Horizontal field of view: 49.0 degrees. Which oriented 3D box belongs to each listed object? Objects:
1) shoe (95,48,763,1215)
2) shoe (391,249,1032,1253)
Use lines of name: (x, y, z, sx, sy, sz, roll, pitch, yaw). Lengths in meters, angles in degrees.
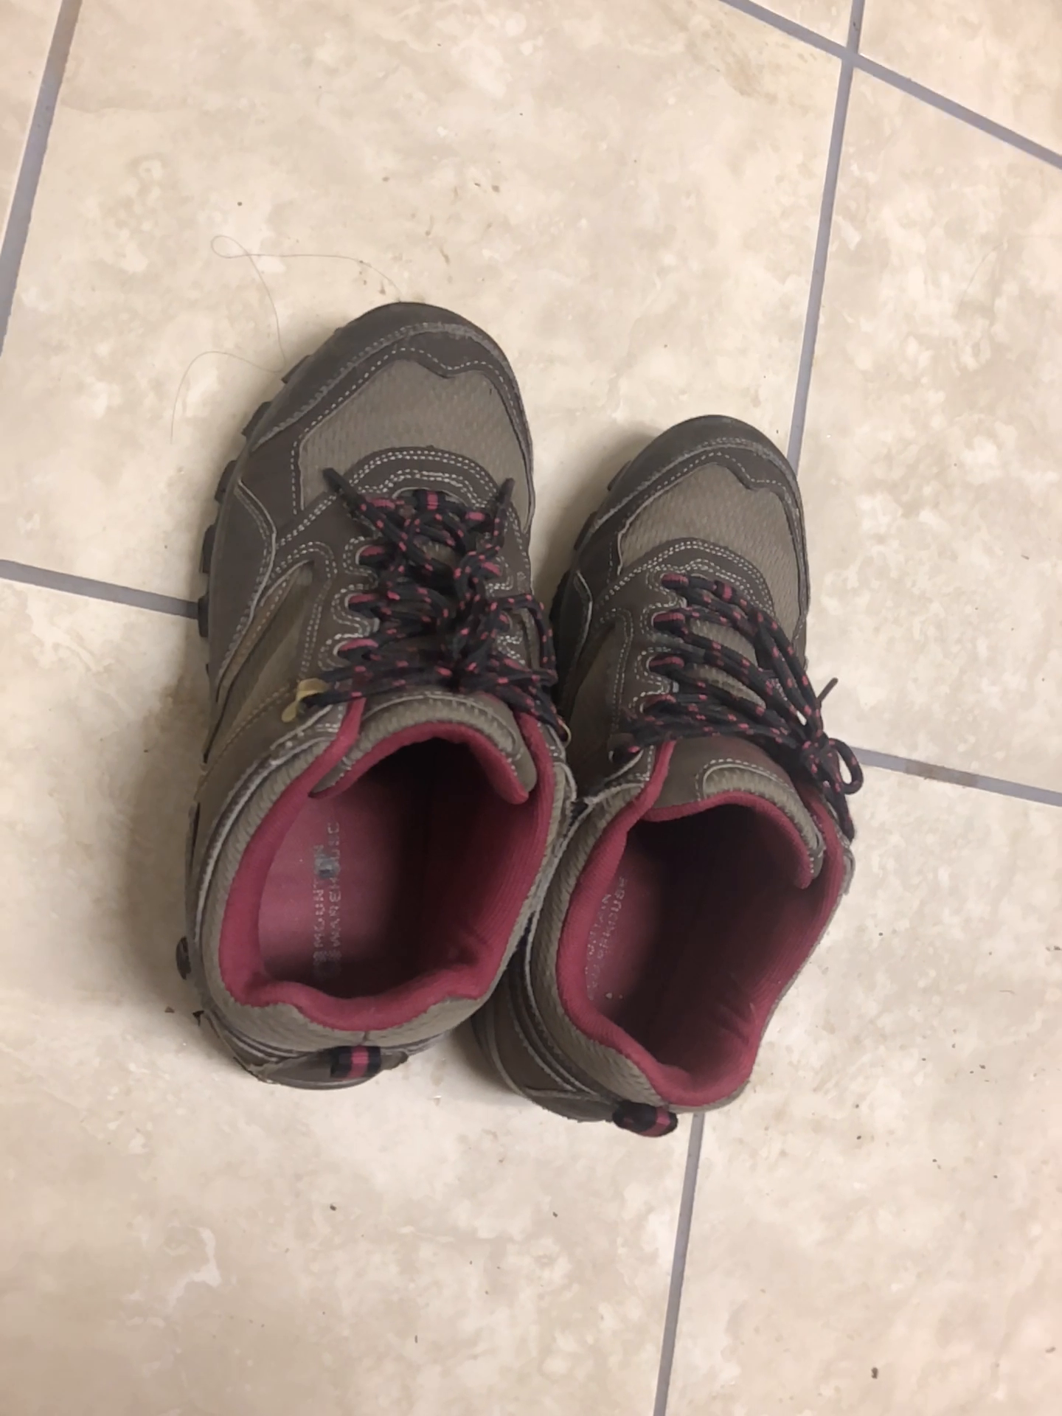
shoe: (-0.035, -0.013, 0.343, 0.120, 0.120, 0.270, 12, 82, -21)
shoe: (0.054, 0.015, 0.380, 0.110, 0.120, 0.260, 17, 81, -21)
